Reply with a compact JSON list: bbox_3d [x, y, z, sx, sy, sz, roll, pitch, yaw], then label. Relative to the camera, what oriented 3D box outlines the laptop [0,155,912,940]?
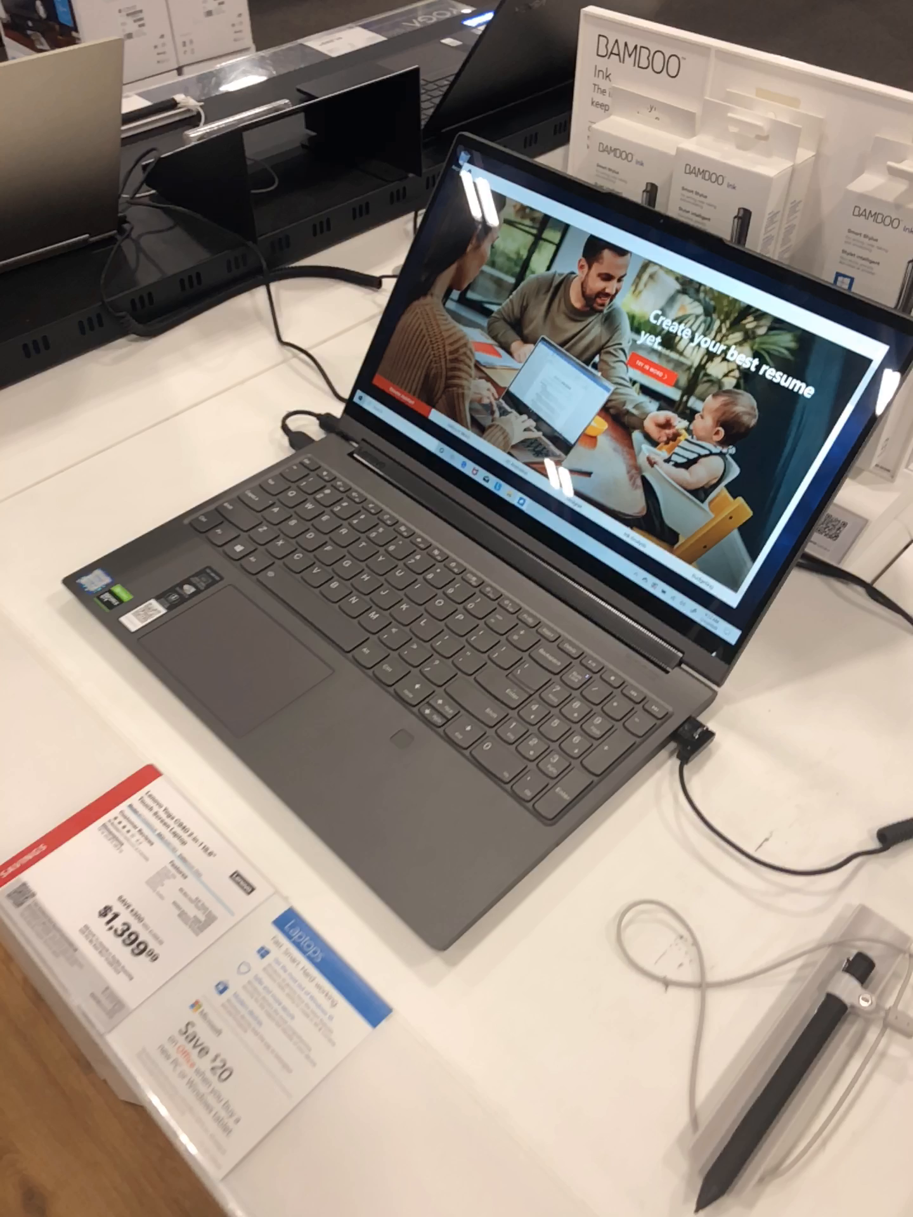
[{"bbox_3d":[-0.003,-0.079,0.603,0.368,0.189,0.346,-35,56,-31],"label":"laptop"}]
